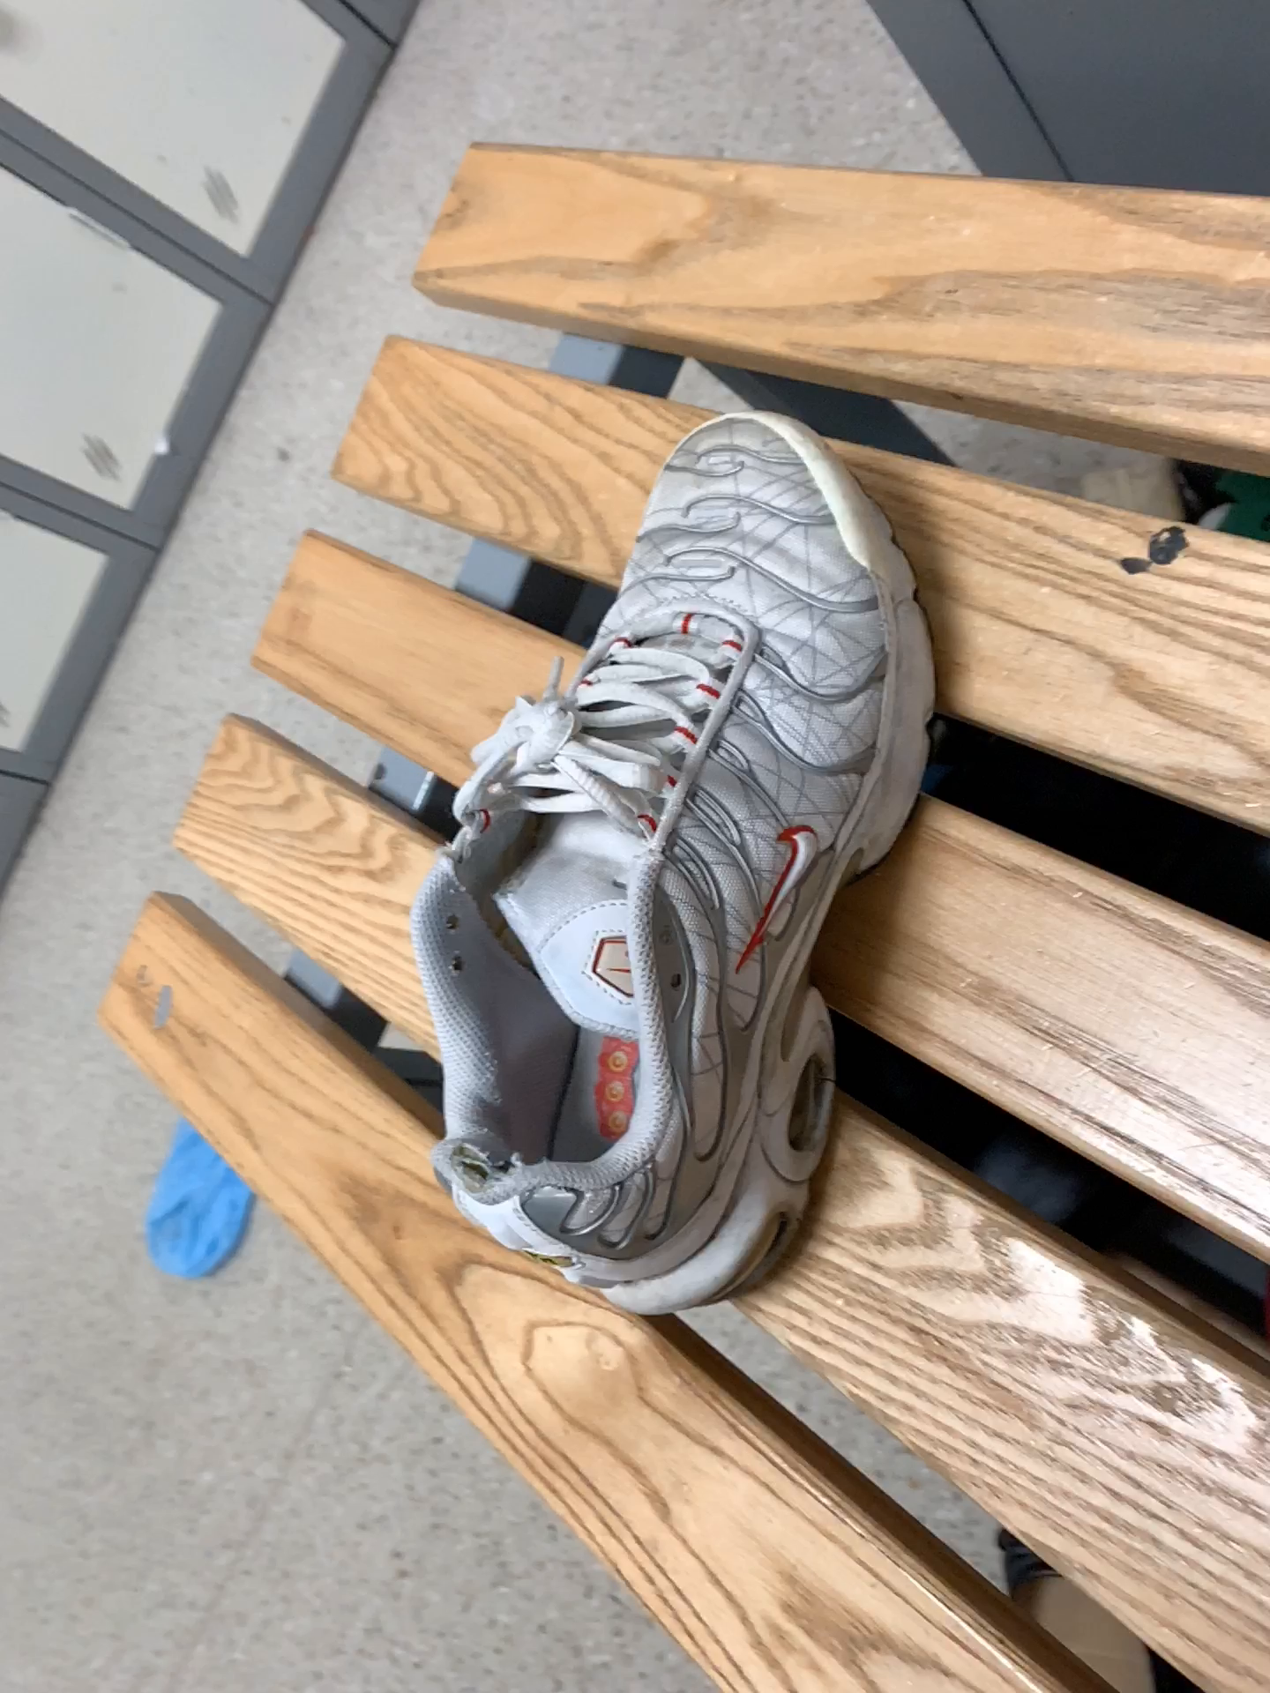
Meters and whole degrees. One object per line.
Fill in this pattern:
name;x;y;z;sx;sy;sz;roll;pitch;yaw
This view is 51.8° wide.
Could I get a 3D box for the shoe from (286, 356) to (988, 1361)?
shoe;0.005;0.003;0.358;0.101;0.105;0.226;10;84;39
